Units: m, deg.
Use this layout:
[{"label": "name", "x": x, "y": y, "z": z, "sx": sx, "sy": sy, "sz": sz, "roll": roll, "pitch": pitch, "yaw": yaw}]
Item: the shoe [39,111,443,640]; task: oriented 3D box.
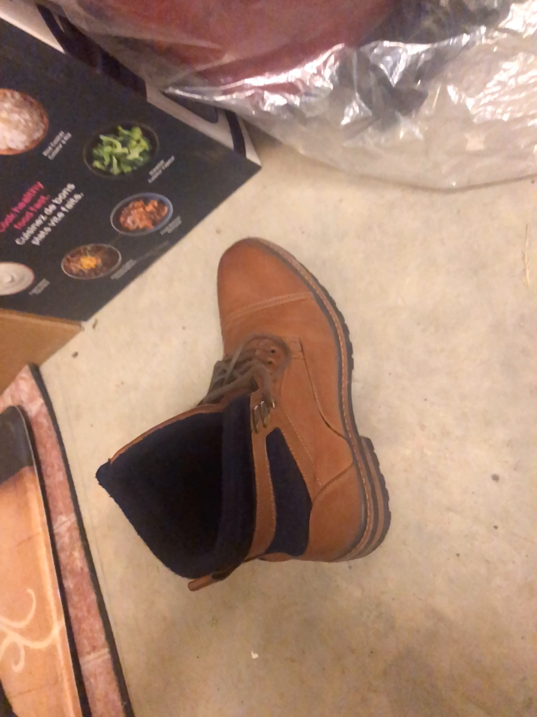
[{"label": "shoe", "x": -0.023, "y": 0.013, "z": 0.450, "sx": 0.132, "sy": 0.201, "sz": 0.303, "roll": -30, "pitch": 67, "yaw": 30}]
